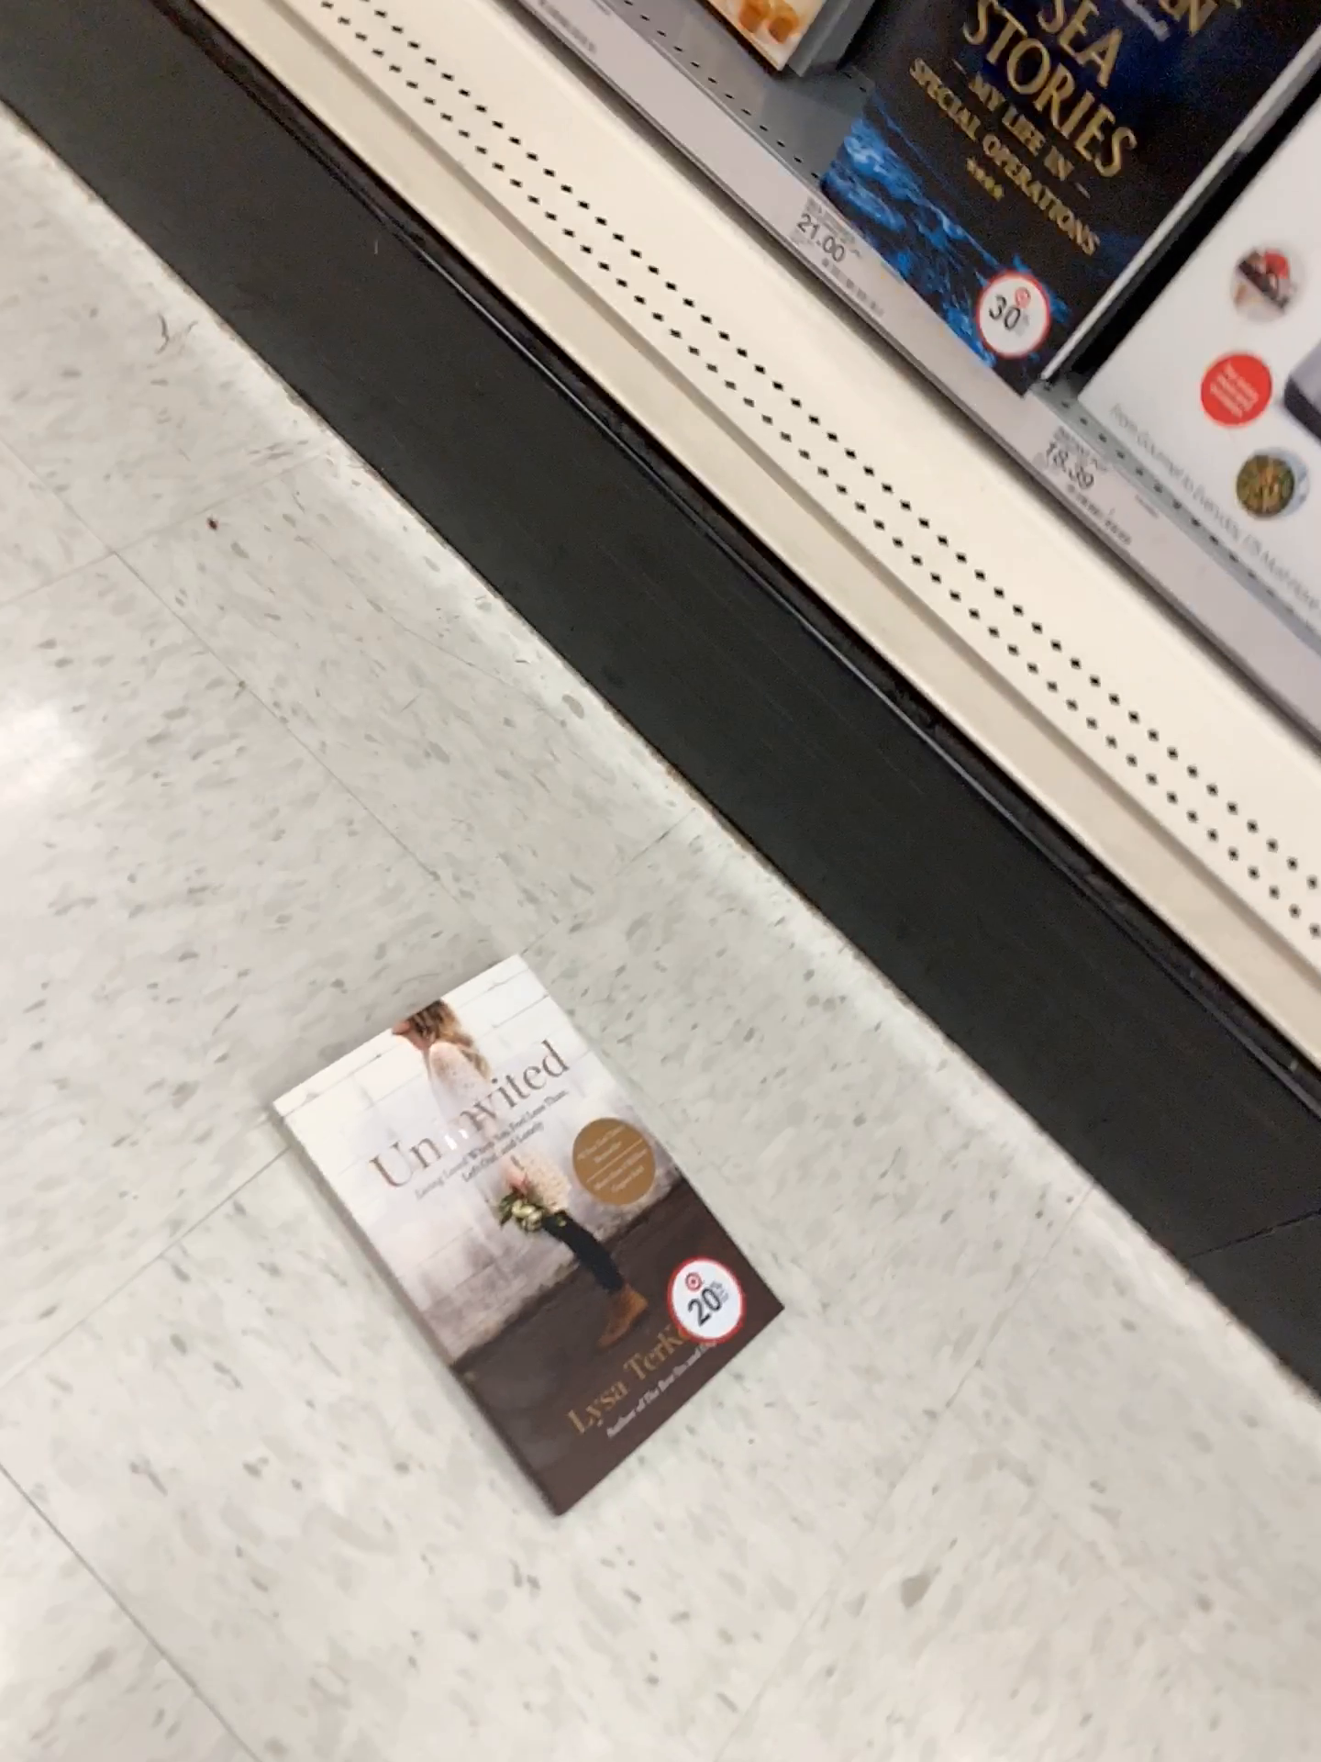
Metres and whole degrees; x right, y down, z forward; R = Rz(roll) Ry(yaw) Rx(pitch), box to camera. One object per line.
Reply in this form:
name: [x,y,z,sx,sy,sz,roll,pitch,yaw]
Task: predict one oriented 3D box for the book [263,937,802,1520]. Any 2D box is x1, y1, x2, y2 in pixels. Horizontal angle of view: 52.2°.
book: [-0.055,0.146,0.602,0.140,0.030,0.210,-33,78,-33]
